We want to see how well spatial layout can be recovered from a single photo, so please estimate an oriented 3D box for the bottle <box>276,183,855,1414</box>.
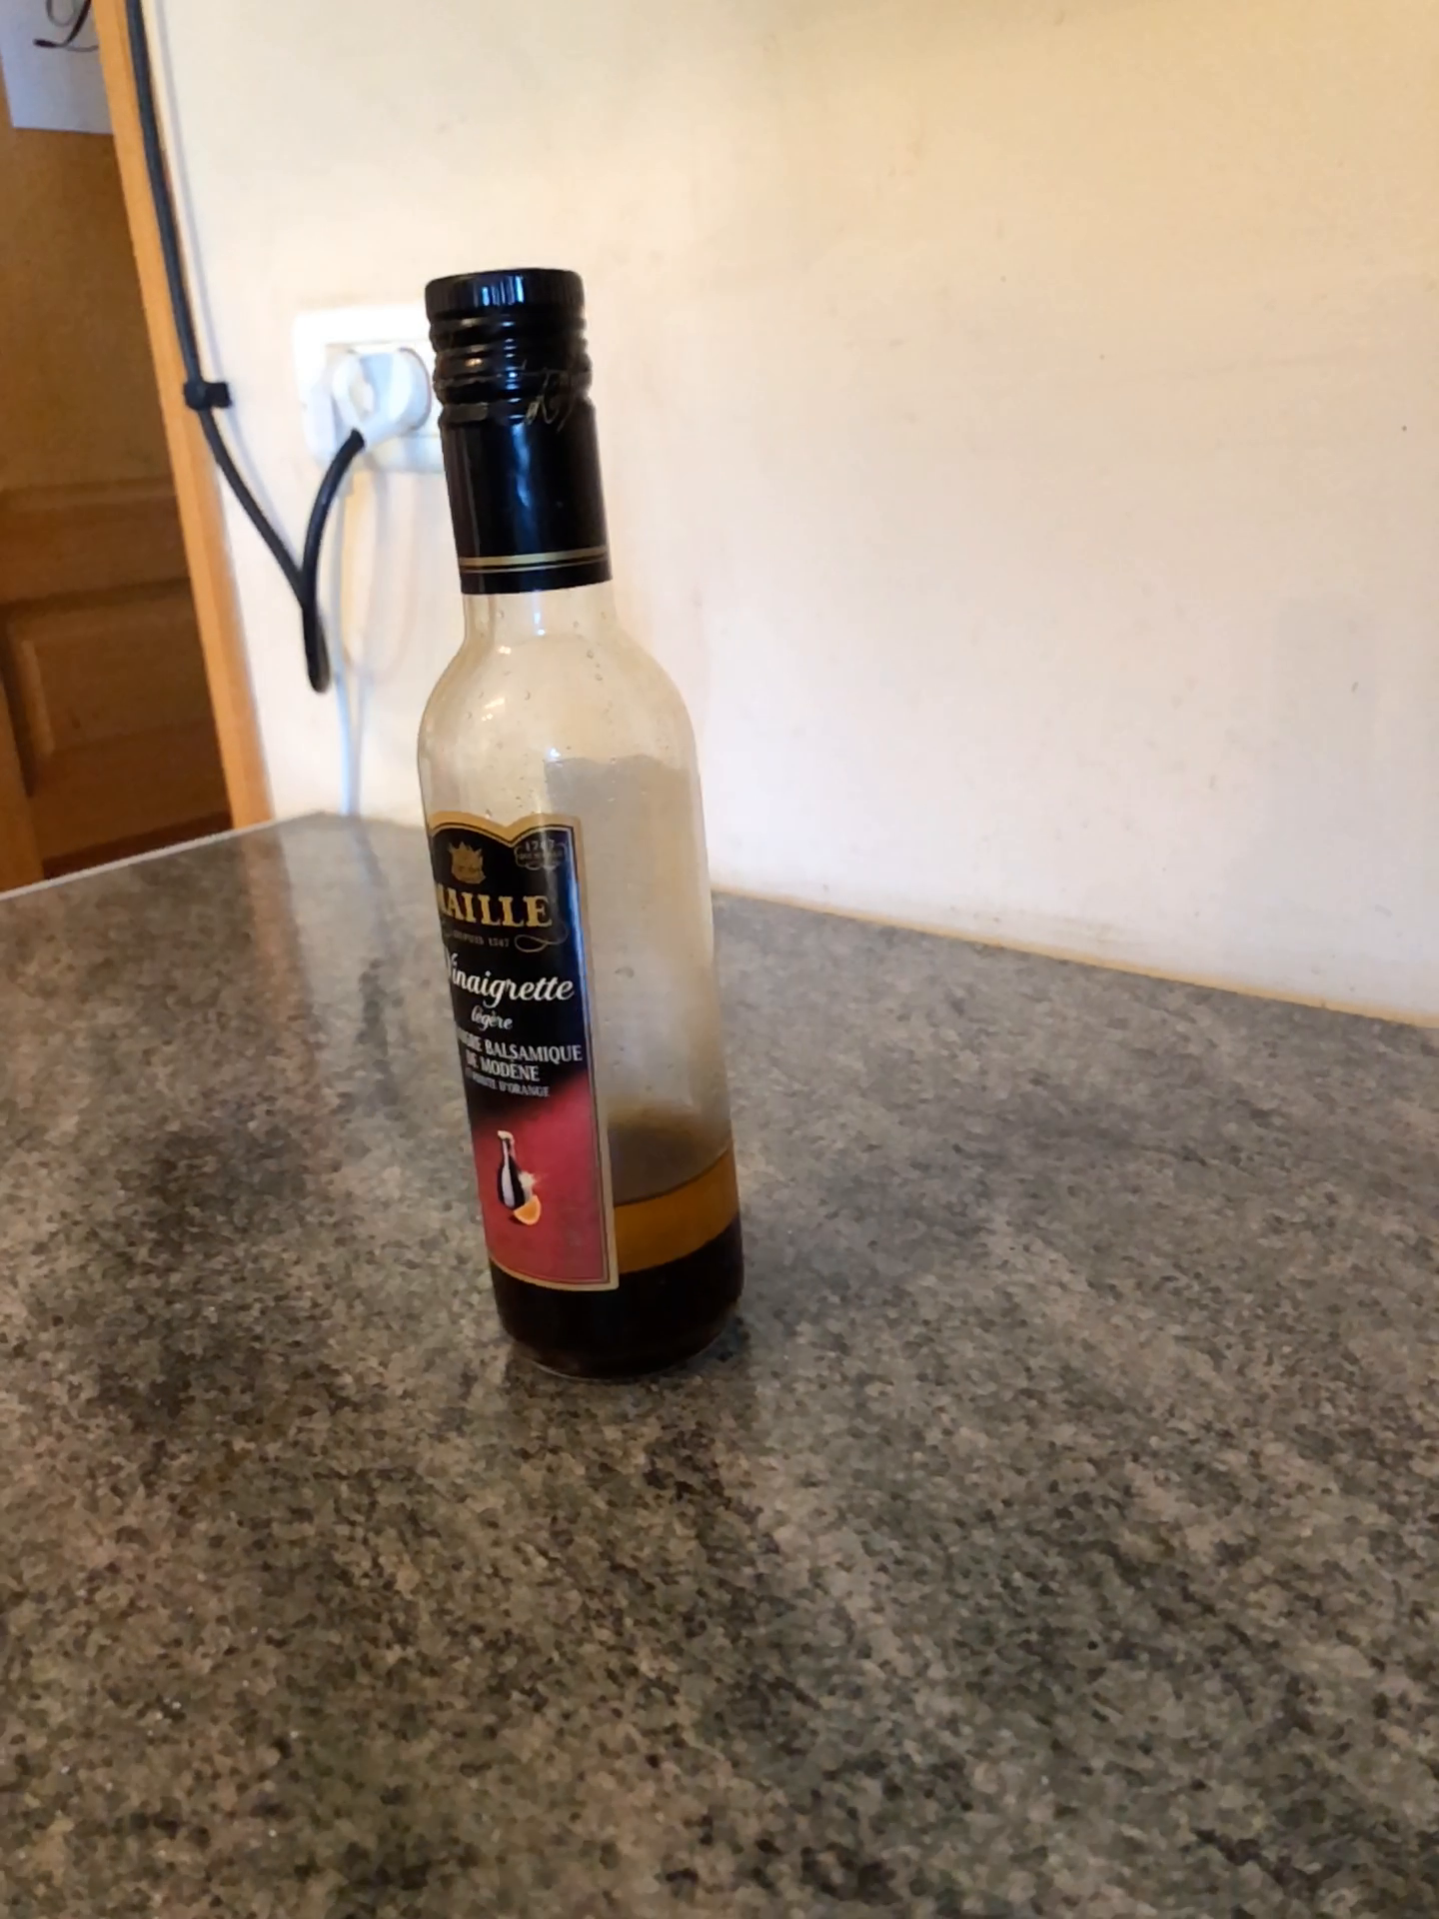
[{"bbox_3d":[-0.026,-0.031,0.337,0.070,0.229,0.070,-4,18,1],"label":"bottle"}]
